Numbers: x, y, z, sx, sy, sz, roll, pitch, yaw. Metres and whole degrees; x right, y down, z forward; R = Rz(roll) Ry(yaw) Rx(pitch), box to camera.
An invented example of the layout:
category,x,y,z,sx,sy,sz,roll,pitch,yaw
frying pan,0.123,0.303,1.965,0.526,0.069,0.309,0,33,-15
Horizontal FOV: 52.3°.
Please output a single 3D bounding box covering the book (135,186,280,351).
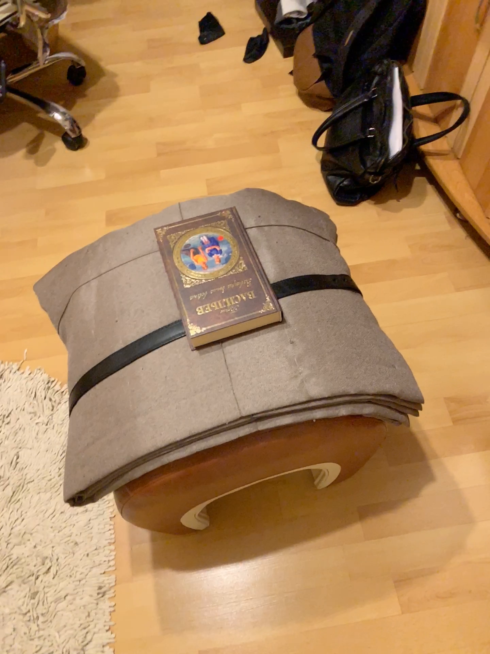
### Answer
category,x,y,z,sx,sy,sz,roll,pitch,yaw
book,-0.056,-0.088,0.682,0.140,0.050,0.221,-17,55,-7
